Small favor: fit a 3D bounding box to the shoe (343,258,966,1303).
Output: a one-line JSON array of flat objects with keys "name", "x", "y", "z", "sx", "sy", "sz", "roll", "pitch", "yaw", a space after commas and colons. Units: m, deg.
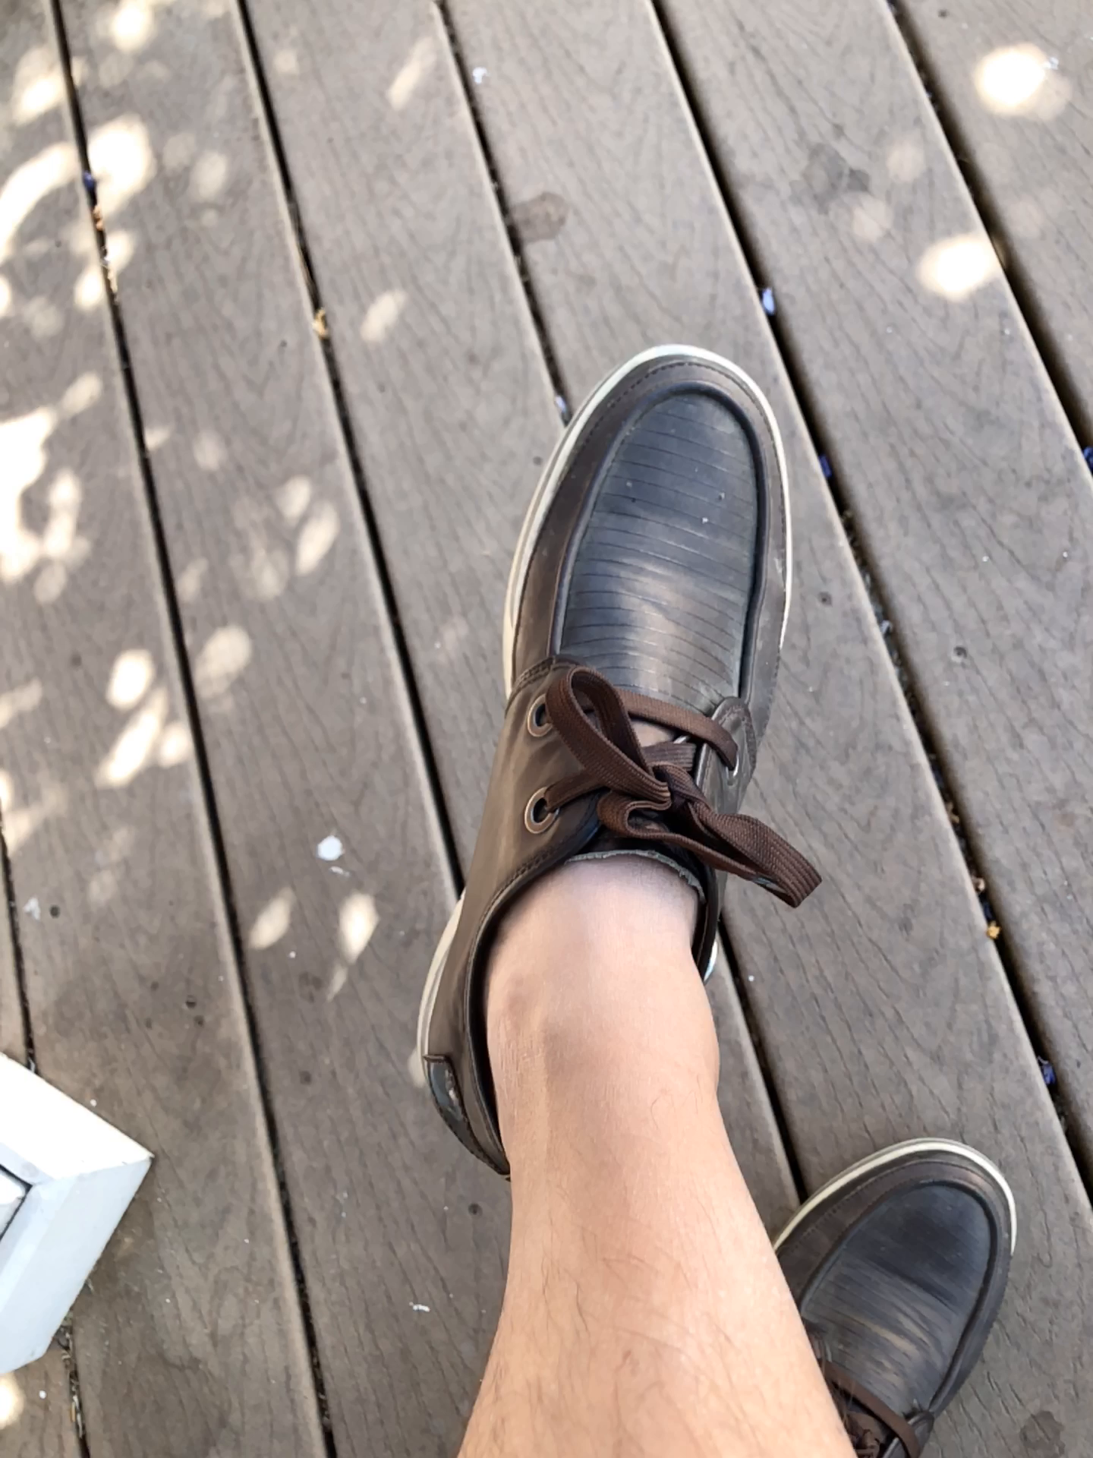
[{"name": "shoe", "x": 0.028, "y": 0.017, "z": 0.416, "sx": 0.118, "sy": 0.104, "sz": 0.295, "roll": 15, "pitch": 90, "yaw": -7}]
